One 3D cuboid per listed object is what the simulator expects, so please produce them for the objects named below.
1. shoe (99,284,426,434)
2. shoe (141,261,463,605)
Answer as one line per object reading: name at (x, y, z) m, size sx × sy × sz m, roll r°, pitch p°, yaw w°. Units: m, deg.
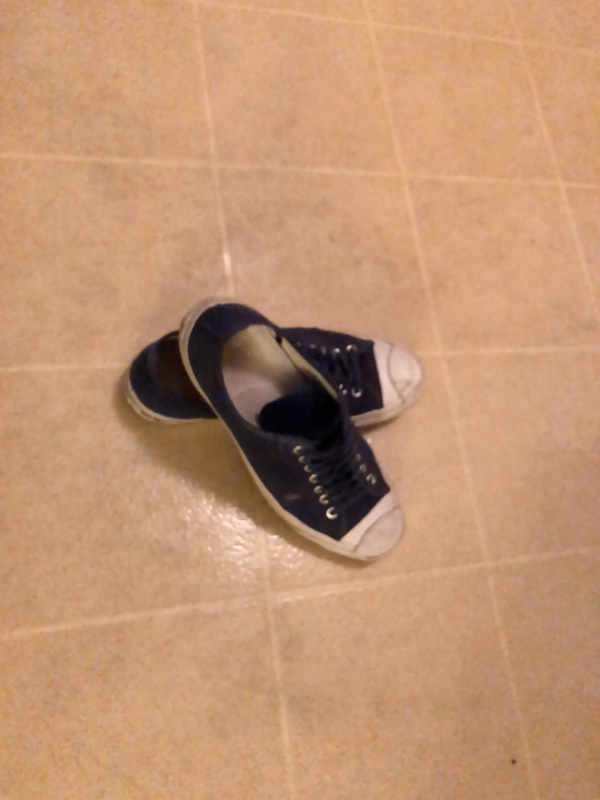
shoe at (-0.032, -0.037, 0.636) m, size 0.290 × 0.080 × 0.110 m, roll -2°, pitch 77°, yaw -25°
shoe at (0.005, 0.029, 0.575) m, size 0.100 × 0.100 × 0.290 m, roll -42°, pitch 112°, yaw -7°
